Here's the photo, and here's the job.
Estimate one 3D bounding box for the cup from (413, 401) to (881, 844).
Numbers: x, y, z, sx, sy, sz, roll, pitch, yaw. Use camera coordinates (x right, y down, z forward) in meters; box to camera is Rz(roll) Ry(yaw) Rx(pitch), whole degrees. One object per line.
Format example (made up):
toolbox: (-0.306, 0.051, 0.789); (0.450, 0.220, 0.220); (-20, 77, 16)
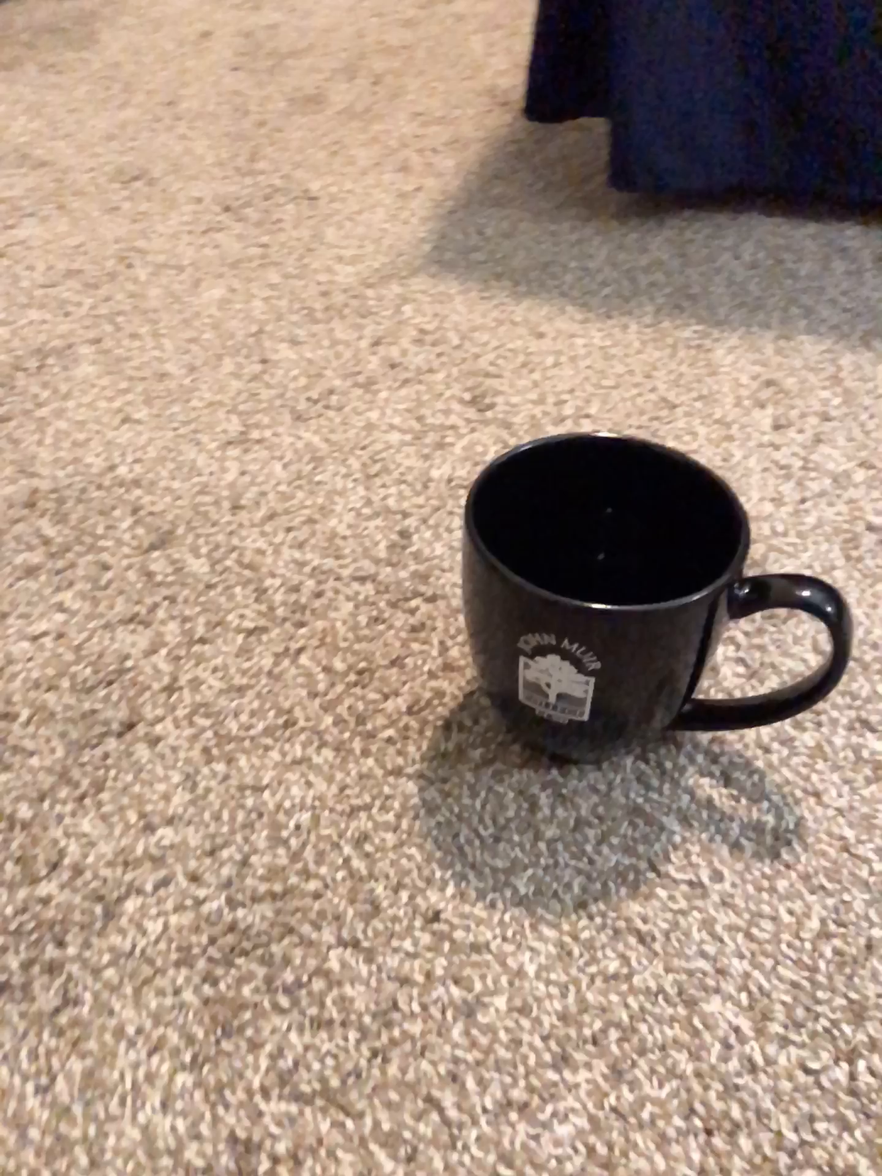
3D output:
cup: (0.075, 0.008, 0.335); (0.140, 0.090, 0.090); (11, 45, 16)
